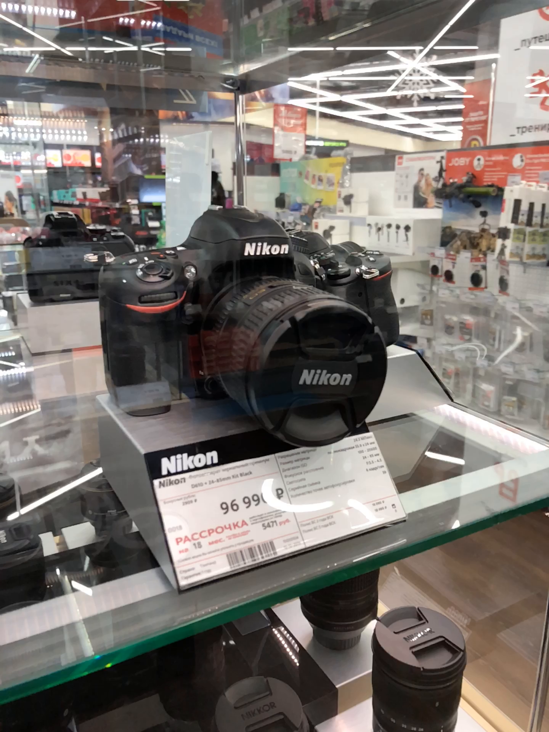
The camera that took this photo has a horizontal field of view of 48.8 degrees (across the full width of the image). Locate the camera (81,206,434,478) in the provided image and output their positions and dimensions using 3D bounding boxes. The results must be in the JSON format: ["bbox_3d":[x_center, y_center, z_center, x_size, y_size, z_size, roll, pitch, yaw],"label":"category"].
[{"bbox_3d":[-0.021,-0.031,0.342,0.148,0.110,0.150,-6,17,-21],"label":"camera"}]
